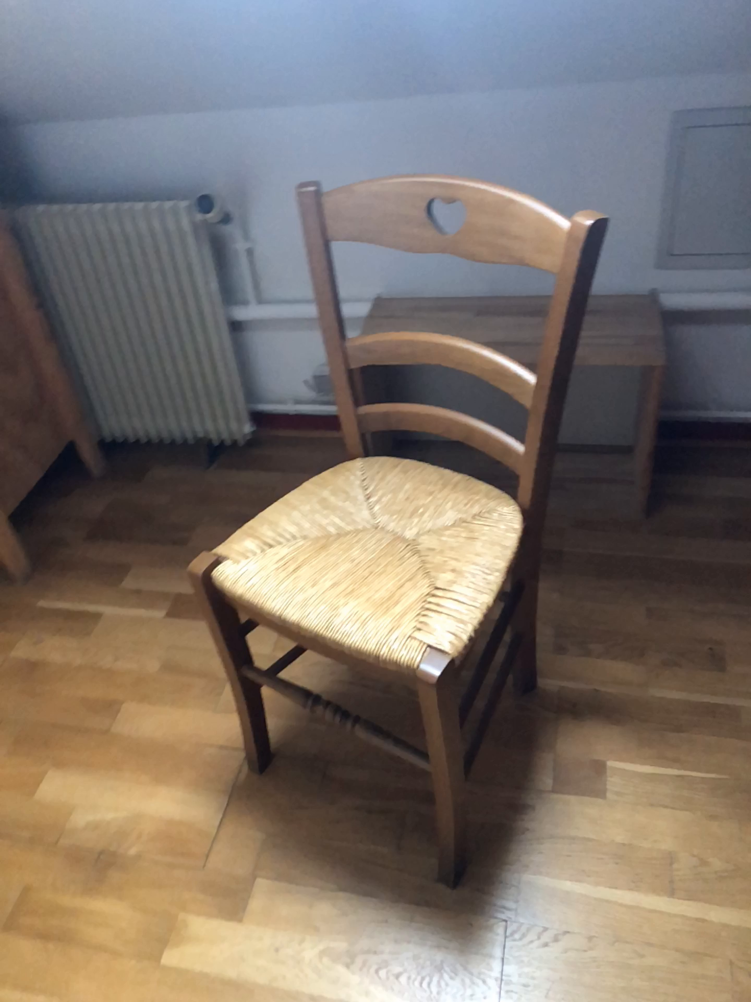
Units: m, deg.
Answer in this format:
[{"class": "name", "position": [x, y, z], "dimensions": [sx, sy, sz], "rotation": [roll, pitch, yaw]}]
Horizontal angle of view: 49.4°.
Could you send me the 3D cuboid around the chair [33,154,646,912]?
[{"class": "chair", "position": [0.012, 0.042, 1.071], "dimensions": [0.458, 0.792, 0.436], "rotation": [18, 45, 29]}]
